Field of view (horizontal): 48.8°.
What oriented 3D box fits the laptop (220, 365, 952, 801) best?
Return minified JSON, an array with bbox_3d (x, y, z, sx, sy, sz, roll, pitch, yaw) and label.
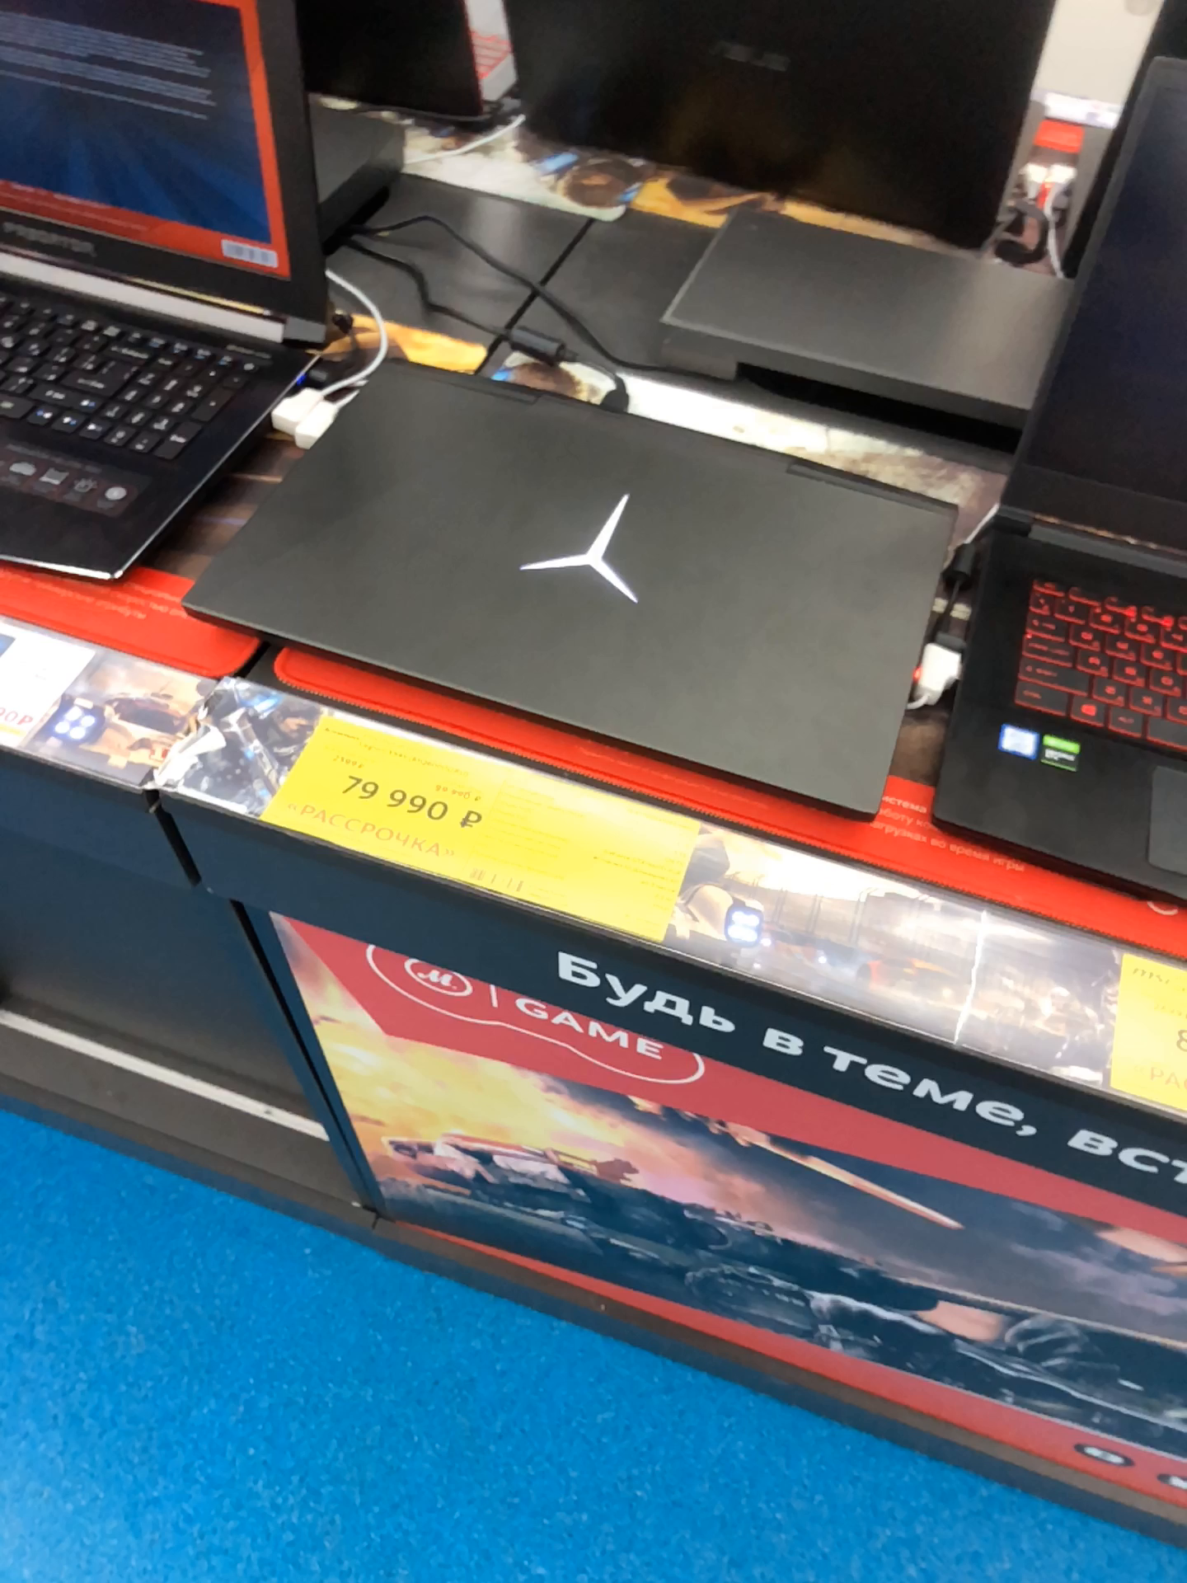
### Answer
[{"bbox_3d":[0.007,-0.129,0.708,0.343,0.007,0.228,17,51,10],"label":"laptop"}]
